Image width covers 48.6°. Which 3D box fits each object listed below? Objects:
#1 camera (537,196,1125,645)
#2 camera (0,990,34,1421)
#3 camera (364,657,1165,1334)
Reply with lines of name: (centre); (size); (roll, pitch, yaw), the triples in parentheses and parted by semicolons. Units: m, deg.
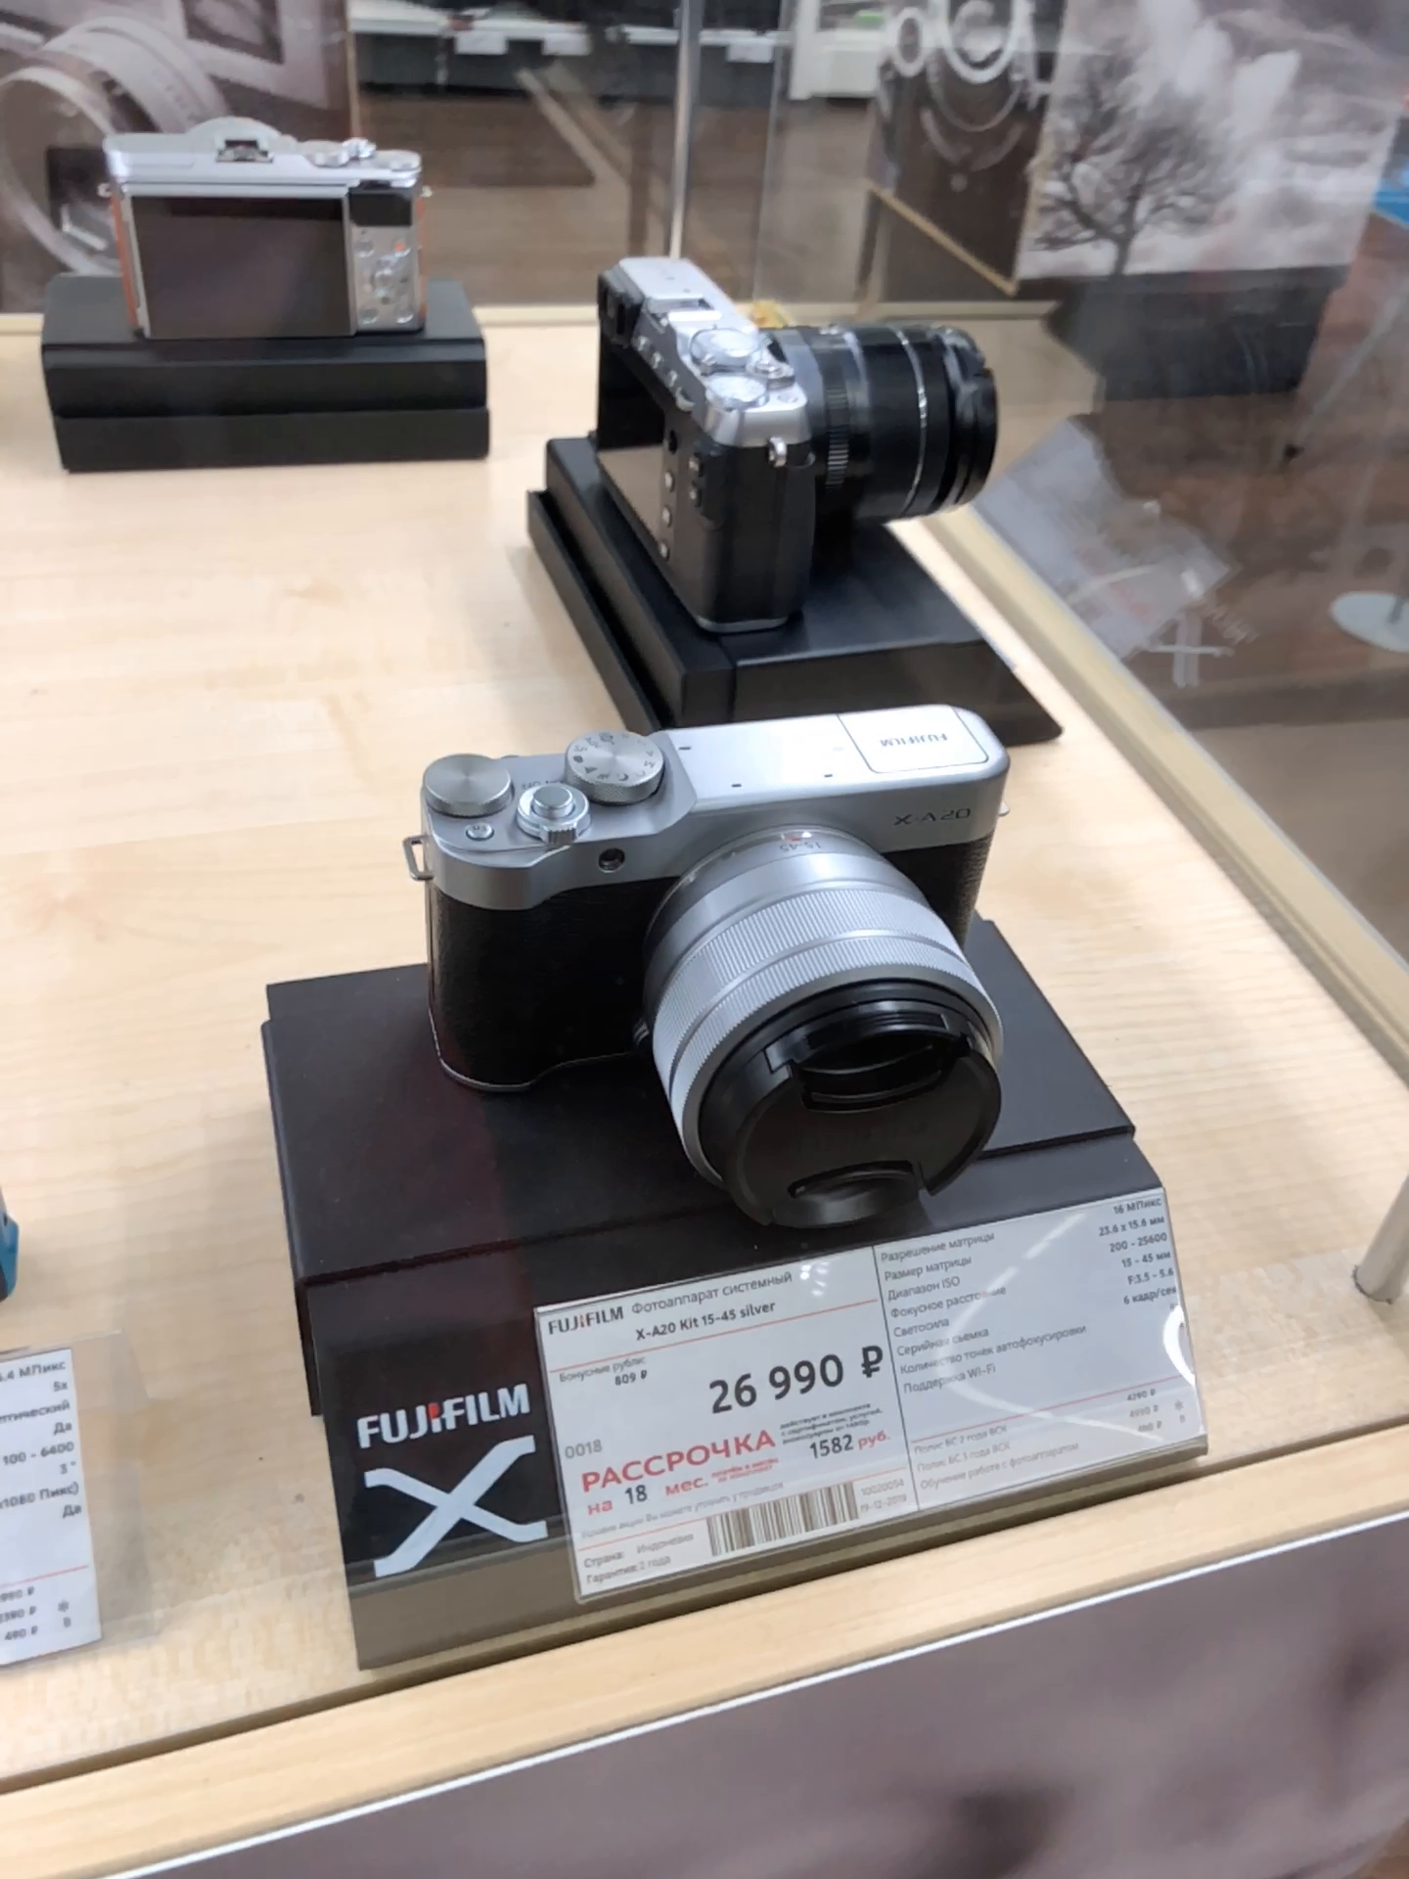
camera: (0.030, -0.185, 0.530); (0.130, 0.074, 0.188); (-9, 42, -17)
camera: (-0.188, 0.049, 0.291); (0.106, 0.064, 0.025); (-8, 41, -16)
camera: (0.004, 0.005, 0.300); (0.120, 0.070, 0.093); (-8, 41, -16)
